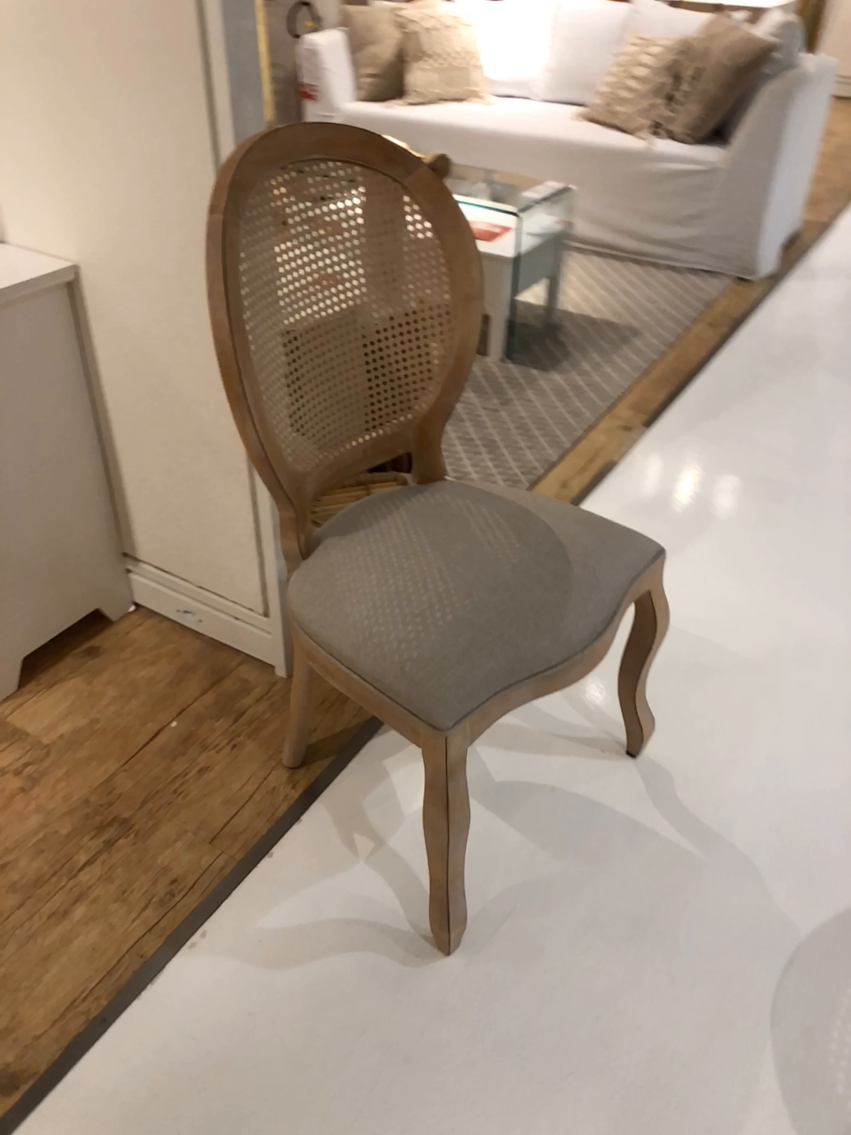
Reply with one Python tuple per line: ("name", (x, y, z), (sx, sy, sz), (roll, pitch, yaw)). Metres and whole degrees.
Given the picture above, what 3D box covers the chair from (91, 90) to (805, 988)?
("chair", (0.037, -0.061, 1.297), (0.522, 0.962, 0.593), (27, 43, 32))
